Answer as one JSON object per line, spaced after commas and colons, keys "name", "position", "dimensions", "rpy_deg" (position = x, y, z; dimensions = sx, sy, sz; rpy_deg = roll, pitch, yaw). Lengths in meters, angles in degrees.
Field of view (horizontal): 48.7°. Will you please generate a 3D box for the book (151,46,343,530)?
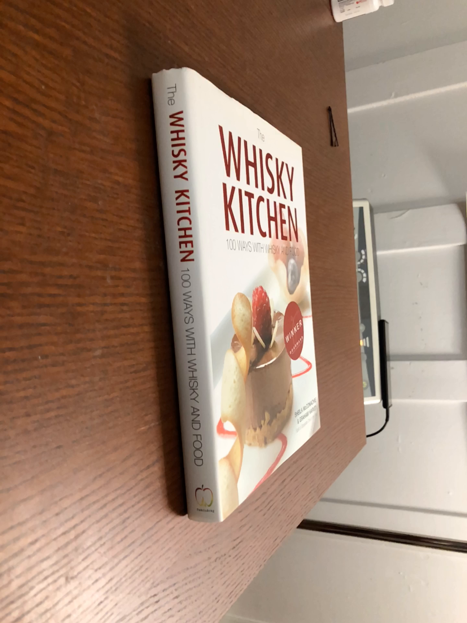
{"name": "book", "position": [0.028, -0.017, 0.395], "dimensions": [0.221, 0.040, 0.270], "rpy_deg": [-9, 95, -64]}
